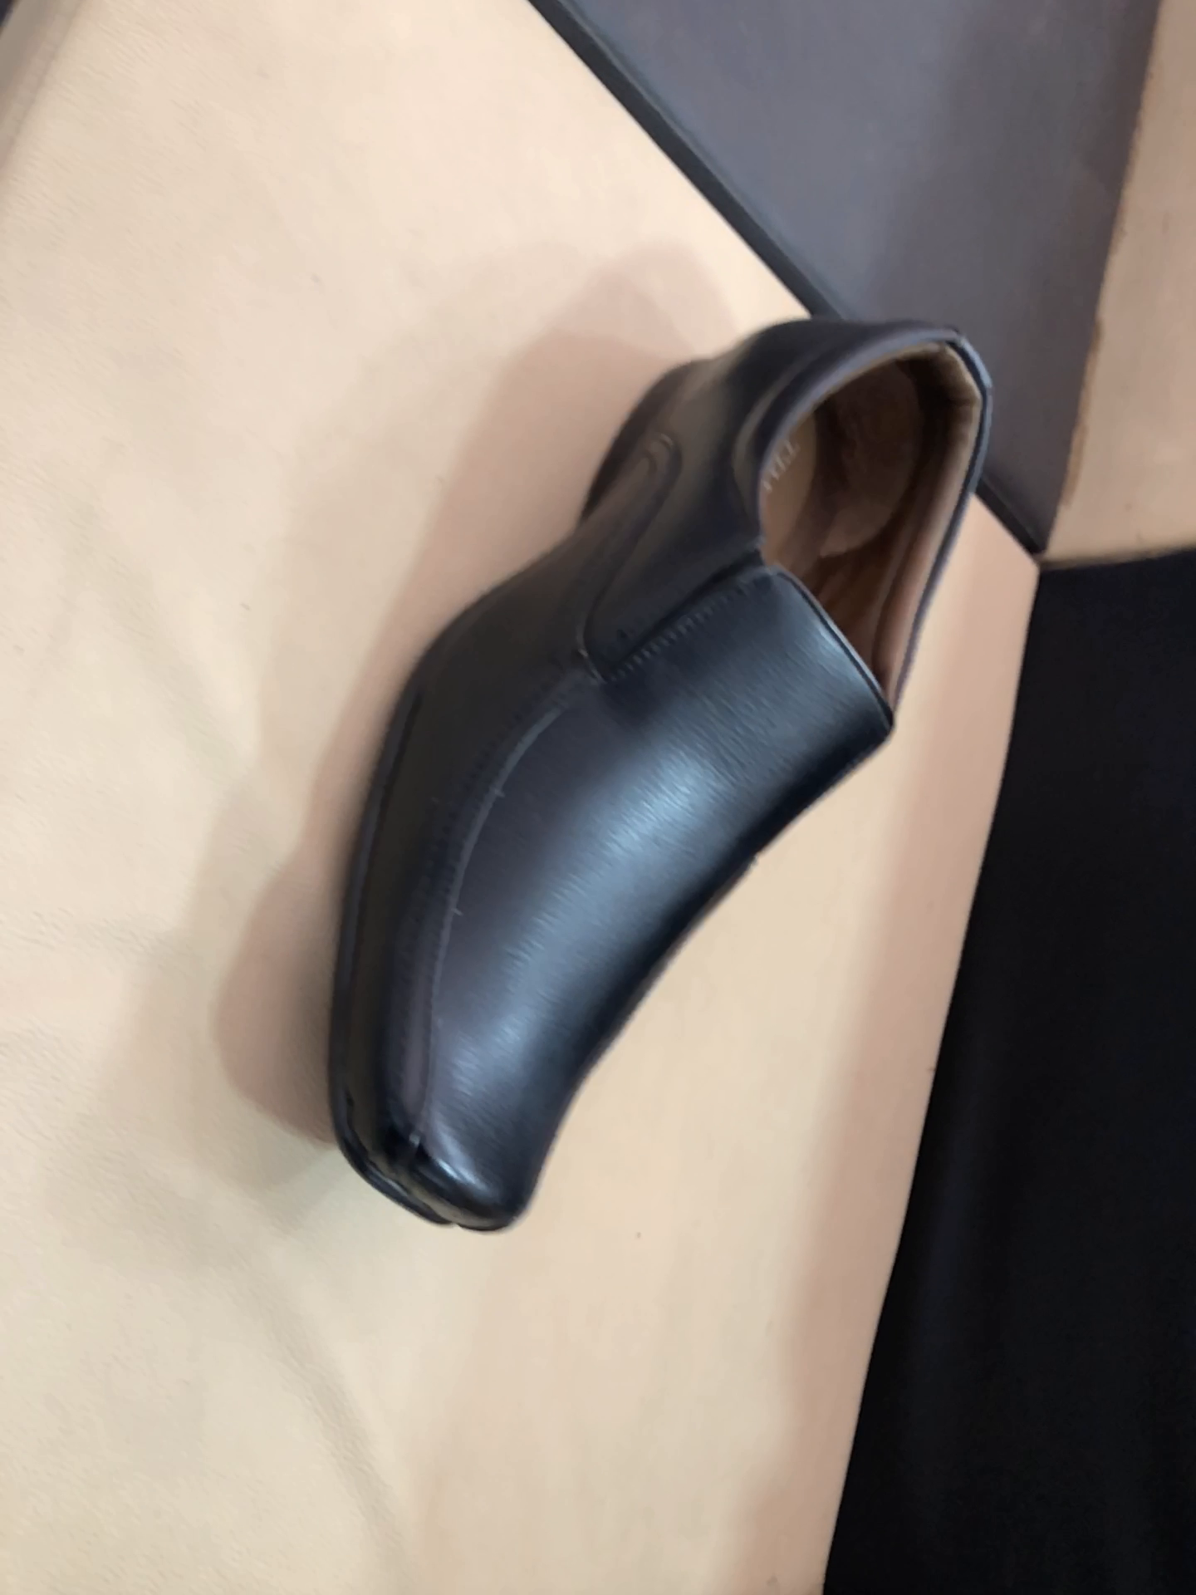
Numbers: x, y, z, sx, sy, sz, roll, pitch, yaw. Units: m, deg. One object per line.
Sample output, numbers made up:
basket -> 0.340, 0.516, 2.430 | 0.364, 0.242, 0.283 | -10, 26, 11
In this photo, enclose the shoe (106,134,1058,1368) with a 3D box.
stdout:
shoe -> 0.015, -0.030, 0.360 | 0.091, 0.099, 0.311 | 47, 60, -35
